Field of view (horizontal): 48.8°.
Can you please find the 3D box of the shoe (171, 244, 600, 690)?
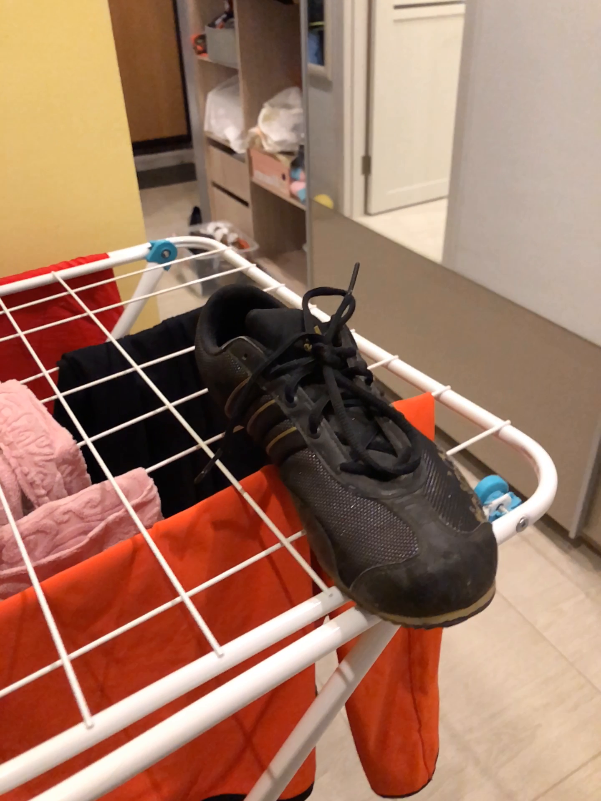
[{"bbox_3d":[0.020,0.008,0.375,0.098,0.099,0.261,-17,36,-21],"label":"shoe"}]
